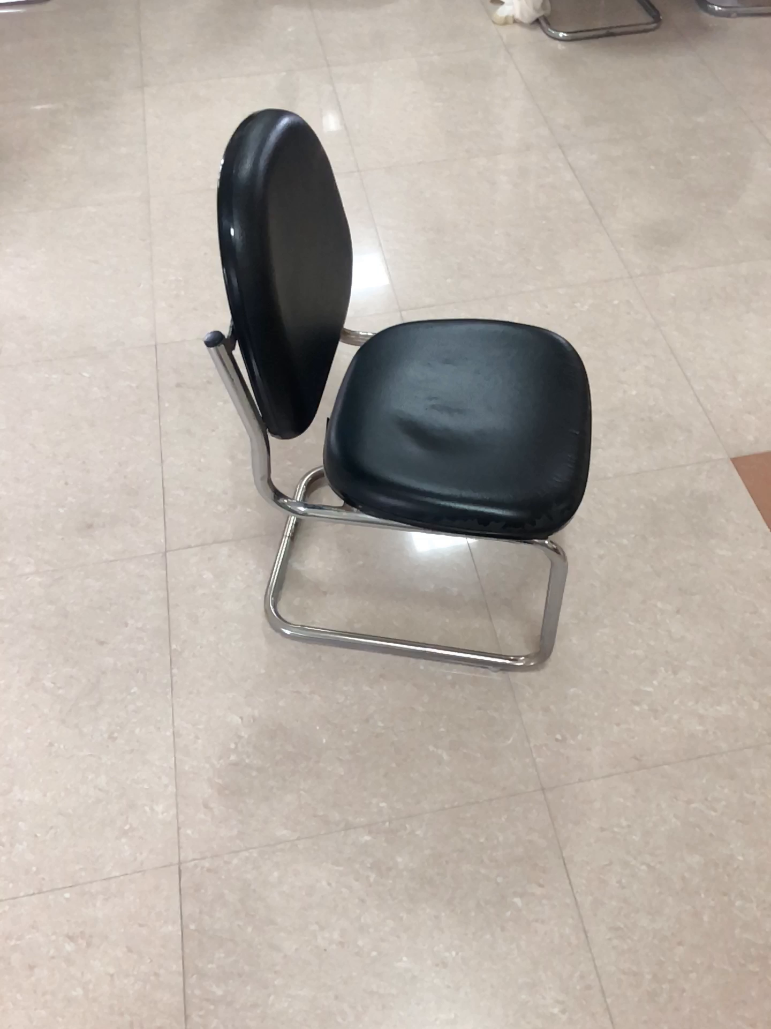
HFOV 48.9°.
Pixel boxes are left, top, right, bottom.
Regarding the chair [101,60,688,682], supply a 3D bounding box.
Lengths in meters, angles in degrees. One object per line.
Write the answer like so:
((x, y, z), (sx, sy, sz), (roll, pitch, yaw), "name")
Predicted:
((0.041, -0.168, 1.299), (0.590, 0.759, 0.501), (6, 55, 5), "chair")
